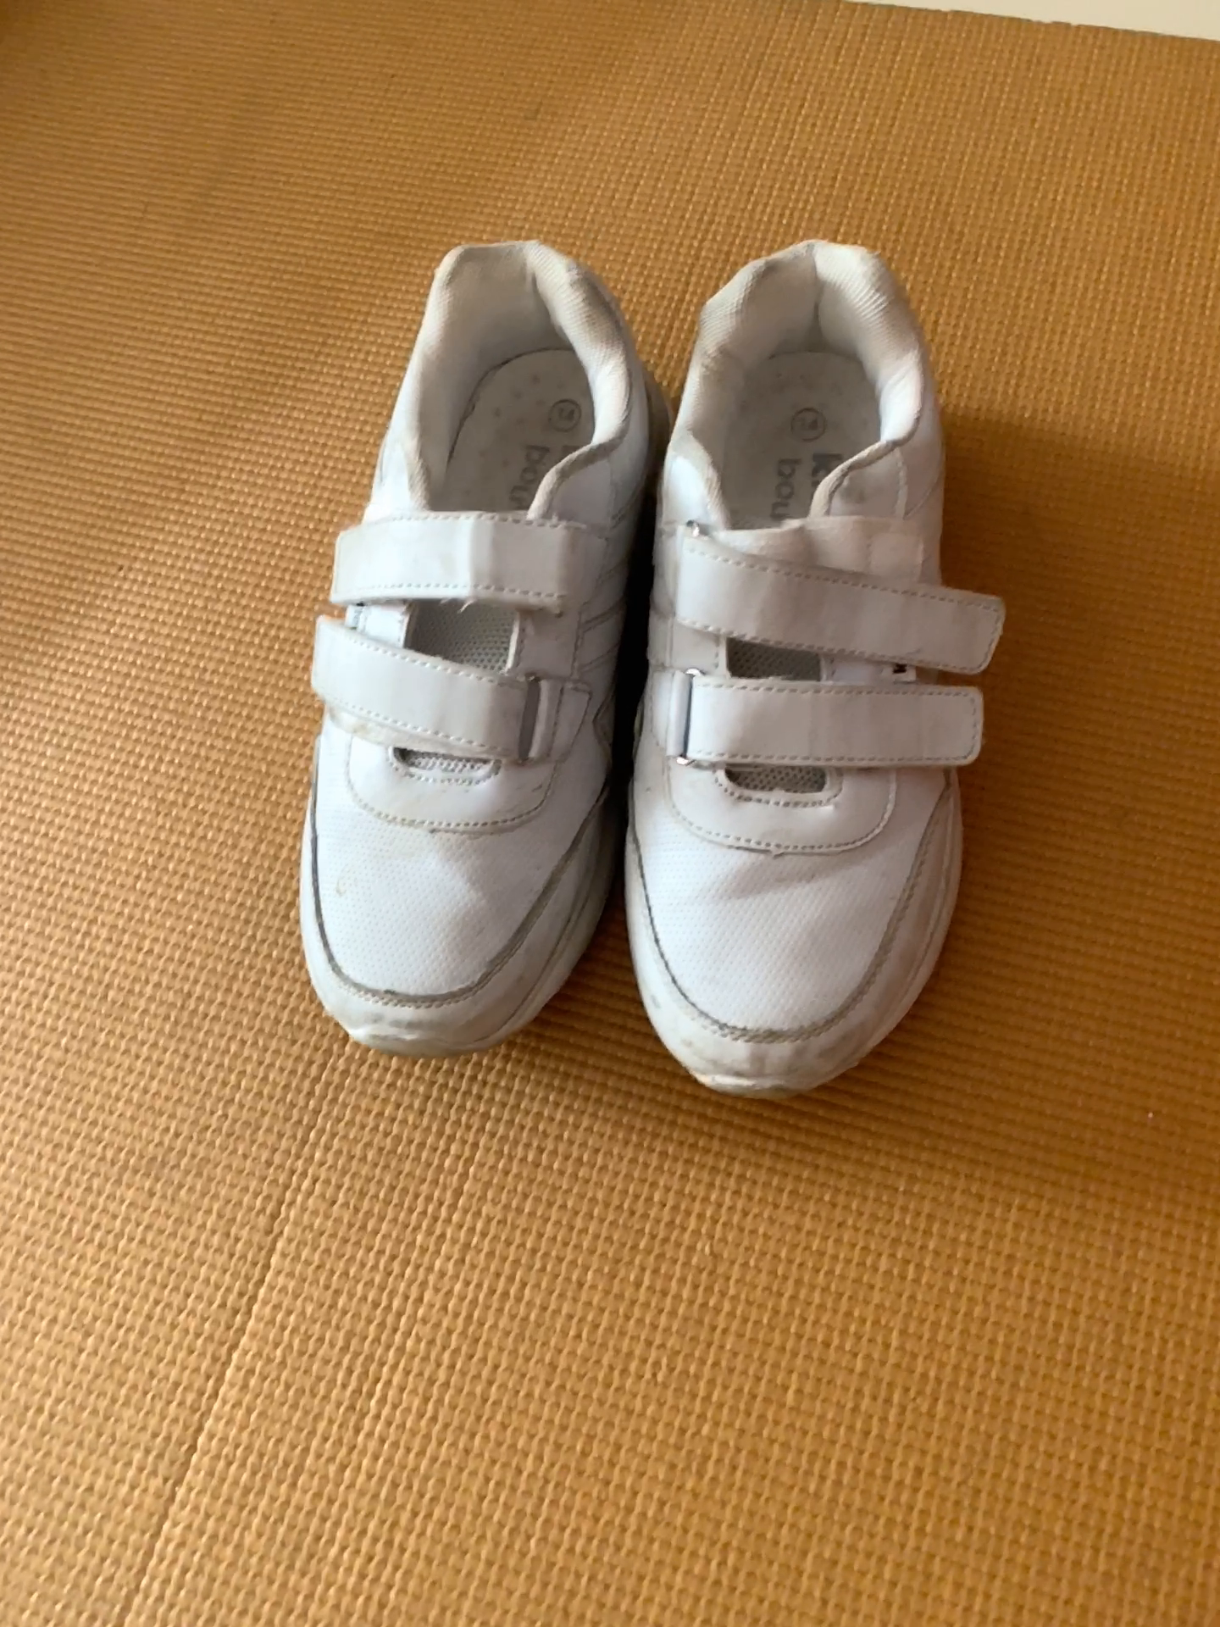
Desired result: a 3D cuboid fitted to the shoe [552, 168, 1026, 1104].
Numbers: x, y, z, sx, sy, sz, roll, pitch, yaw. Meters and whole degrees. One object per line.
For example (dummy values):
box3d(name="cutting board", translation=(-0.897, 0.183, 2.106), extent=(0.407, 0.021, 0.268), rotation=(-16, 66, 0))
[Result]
box3d(name="shoe", translation=(0.056, -0.057, 0.352), extent=(0.090, 0.070, 0.251), rotation=(7, 69, 9))

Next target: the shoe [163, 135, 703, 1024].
box3d(name="shoe", translation=(-0.036, -0.072, 0.378), extent=(0.090, 0.100, 0.241), rotation=(7, 69, 9))
